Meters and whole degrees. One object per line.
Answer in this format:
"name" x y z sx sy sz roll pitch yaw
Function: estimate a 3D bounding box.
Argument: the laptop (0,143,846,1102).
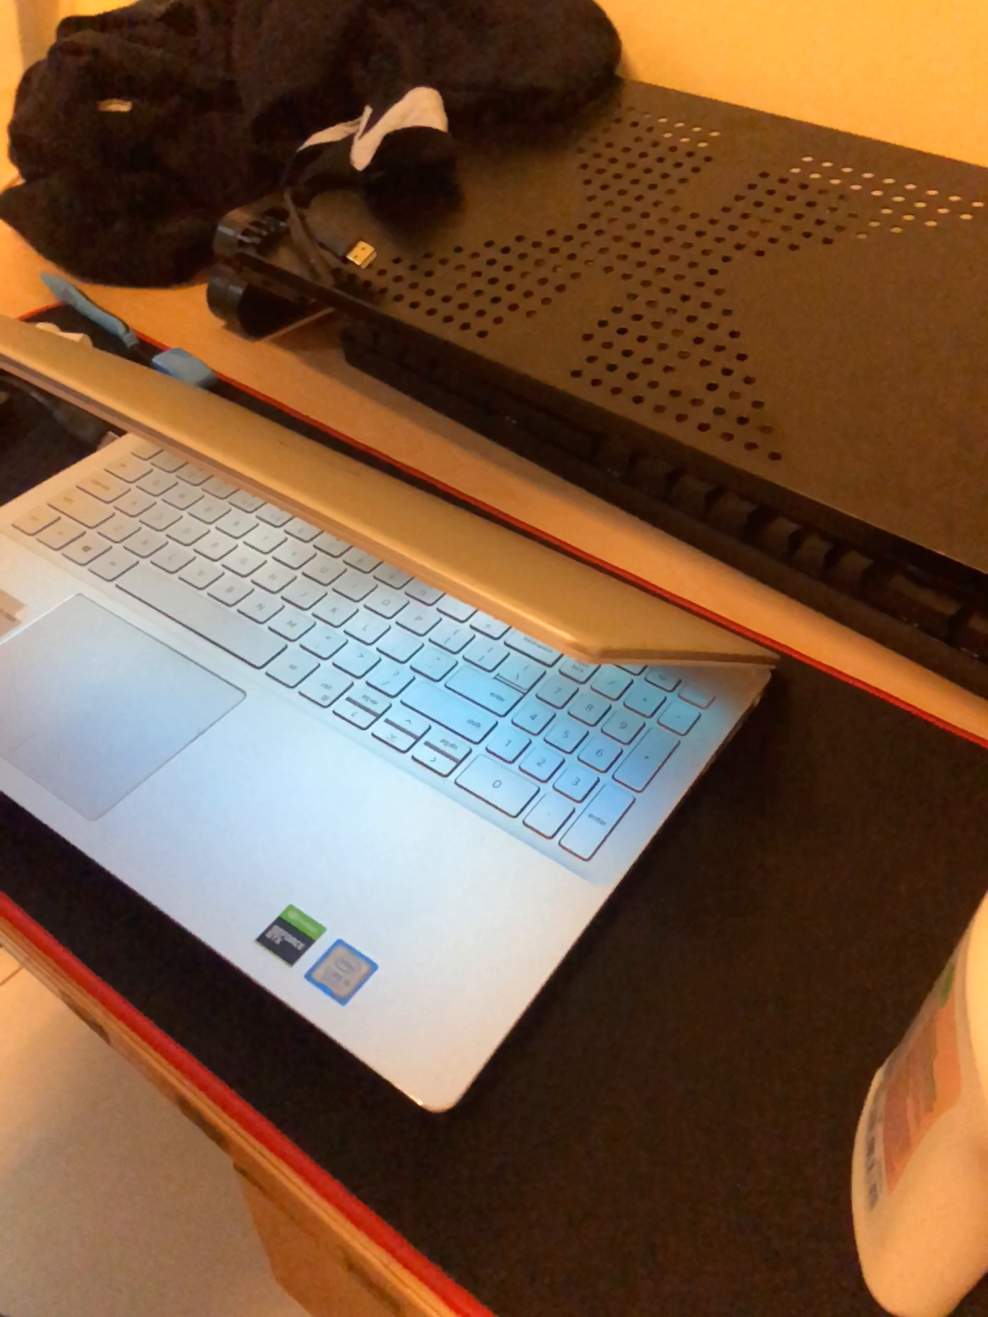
"laptop" -0.091 -0.052 0.418 0.351 0.139 0.219 27 51 25
